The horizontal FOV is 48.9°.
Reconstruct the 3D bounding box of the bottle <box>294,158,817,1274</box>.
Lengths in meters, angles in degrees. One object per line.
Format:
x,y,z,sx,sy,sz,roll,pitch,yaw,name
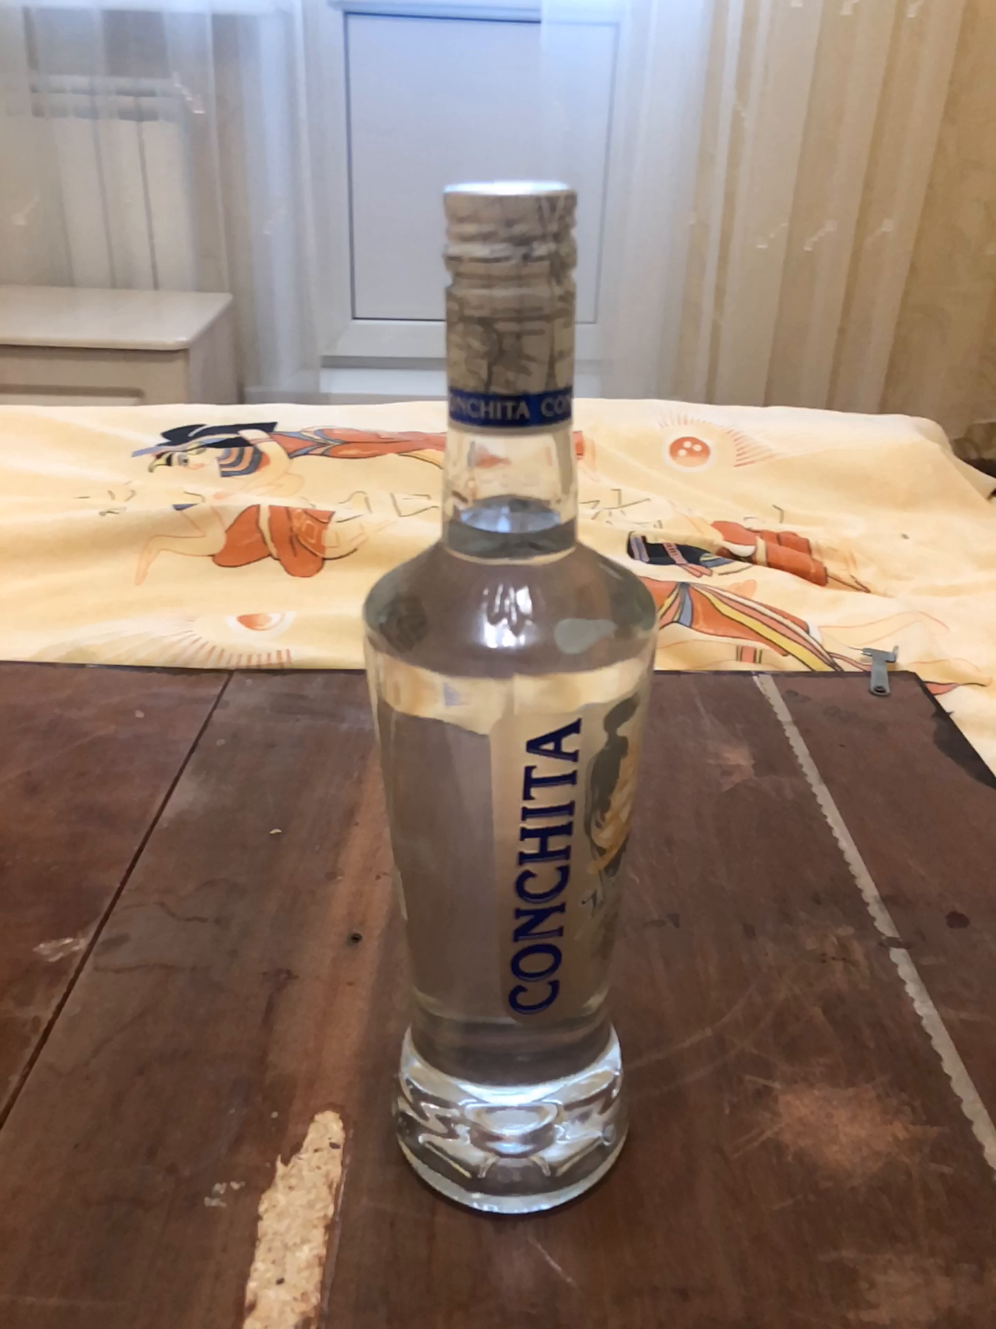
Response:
0.007,0.020,0.286,0.077,0.273,0.075,1,27,-1,bottle
